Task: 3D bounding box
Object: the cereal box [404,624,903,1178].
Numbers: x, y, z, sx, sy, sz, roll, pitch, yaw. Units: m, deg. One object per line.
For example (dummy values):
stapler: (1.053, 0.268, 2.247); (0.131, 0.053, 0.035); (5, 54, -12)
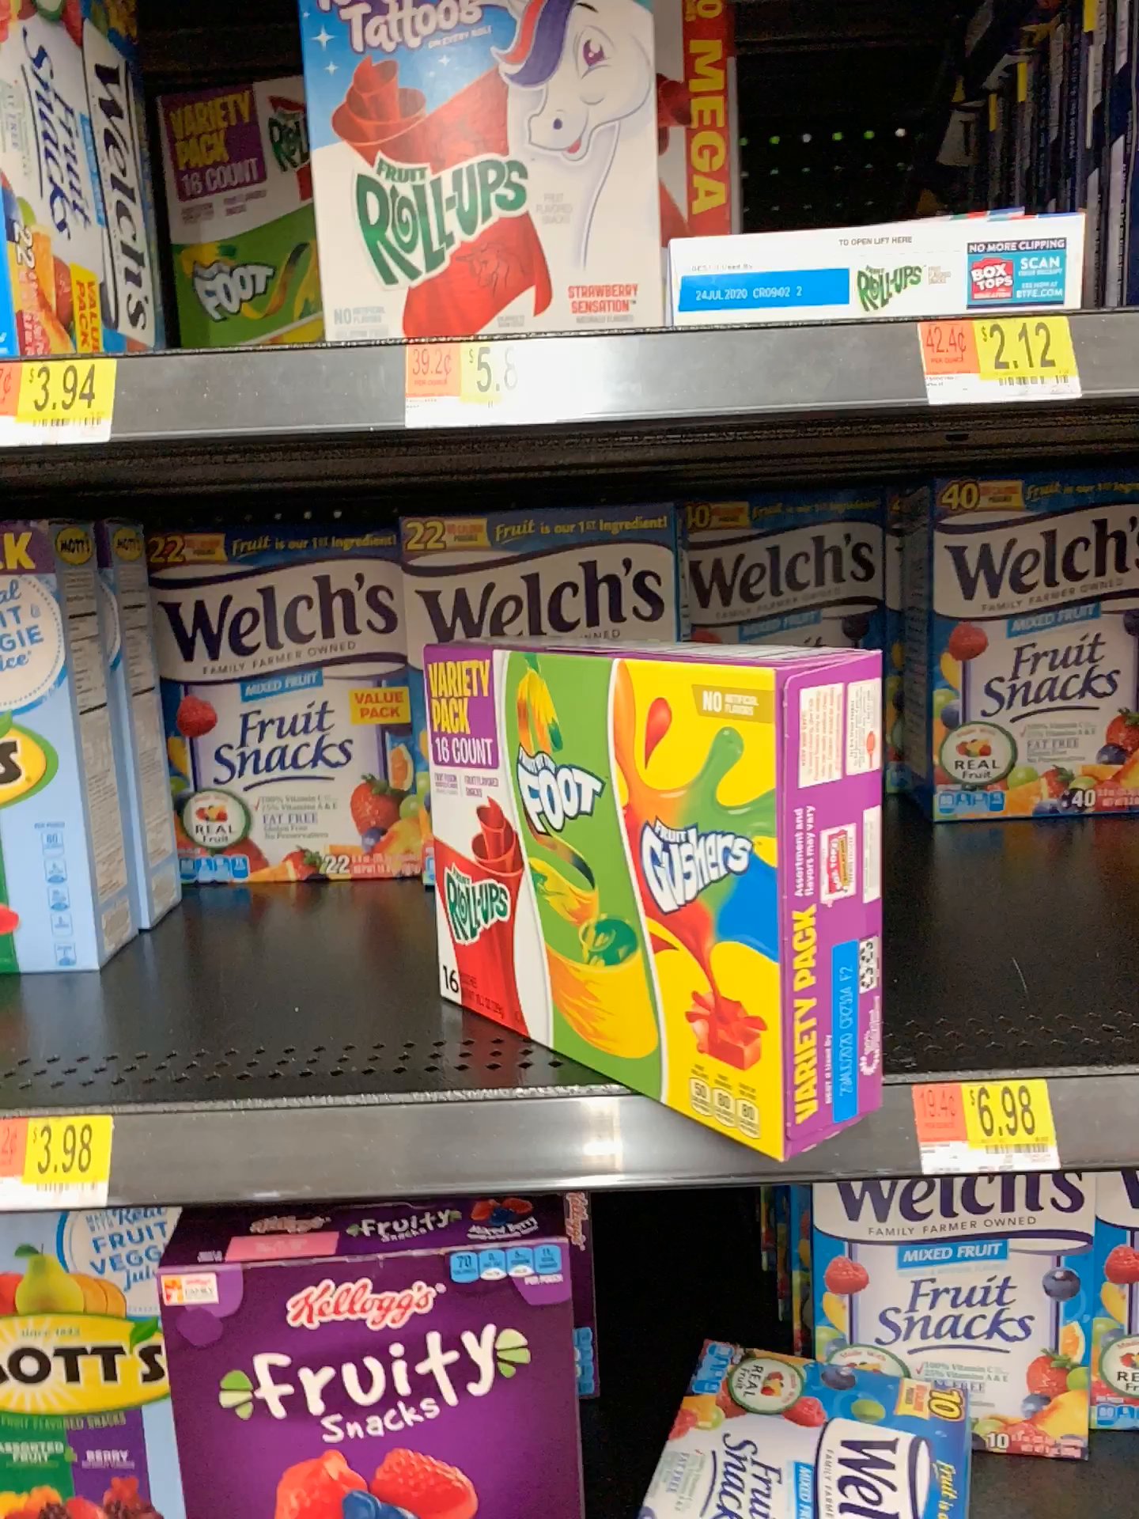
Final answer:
cereal box: (0.022, 0.037, 0.475); (0.060, 0.170, 0.220); (-11, 14, -38)
